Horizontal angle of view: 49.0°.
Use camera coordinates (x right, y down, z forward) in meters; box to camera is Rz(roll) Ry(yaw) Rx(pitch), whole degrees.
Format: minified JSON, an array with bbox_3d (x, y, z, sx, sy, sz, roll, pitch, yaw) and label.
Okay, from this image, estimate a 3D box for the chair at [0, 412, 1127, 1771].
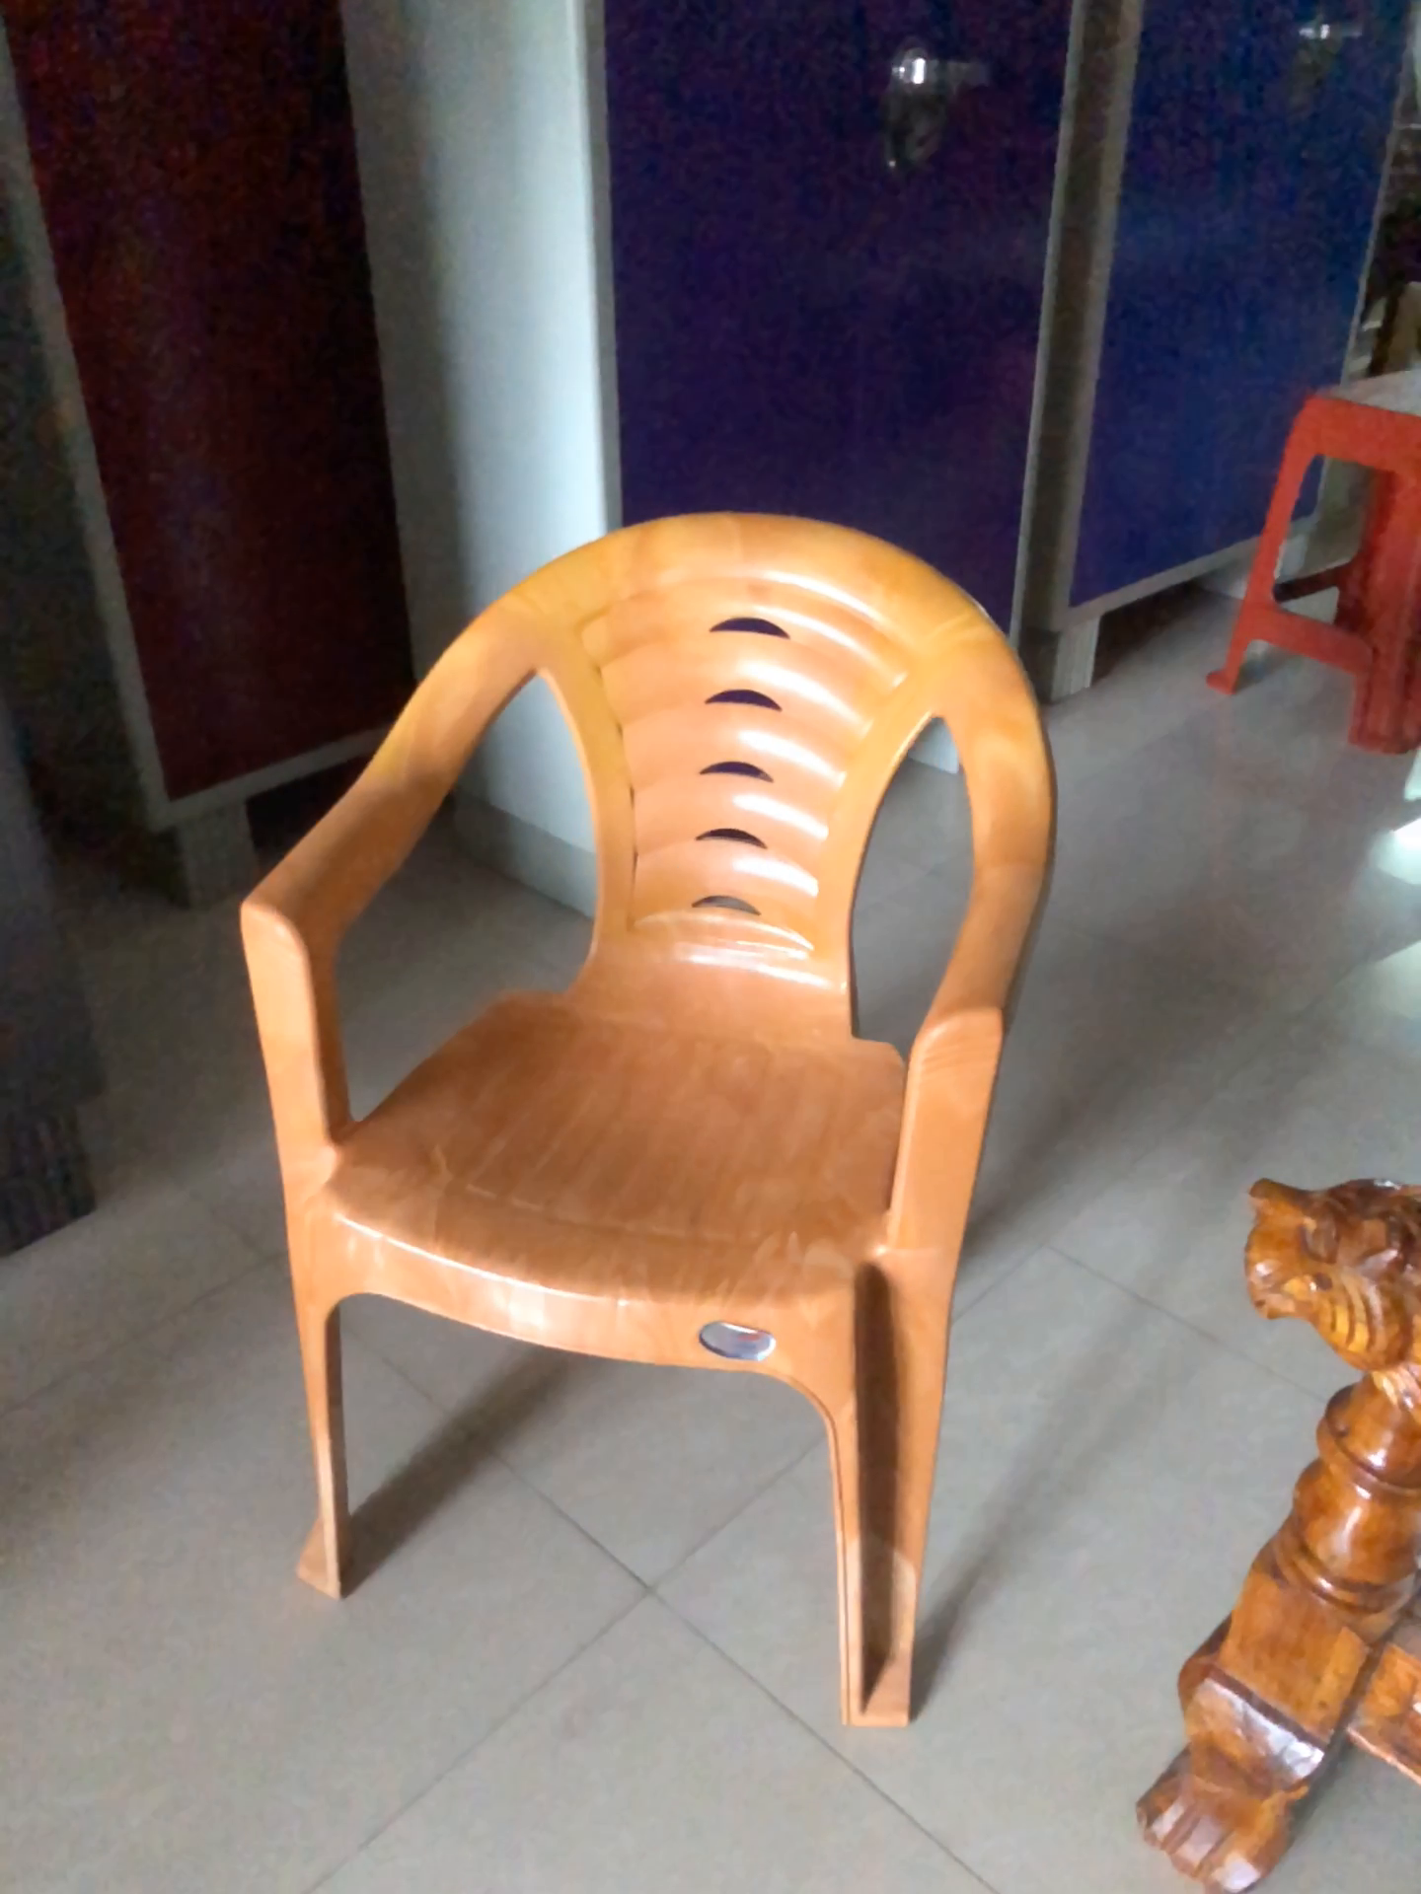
[{"bbox_3d":[-0.039,0.075,1.288,0.630,0.845,0.604,7,32,13],"label":"chair"}]
